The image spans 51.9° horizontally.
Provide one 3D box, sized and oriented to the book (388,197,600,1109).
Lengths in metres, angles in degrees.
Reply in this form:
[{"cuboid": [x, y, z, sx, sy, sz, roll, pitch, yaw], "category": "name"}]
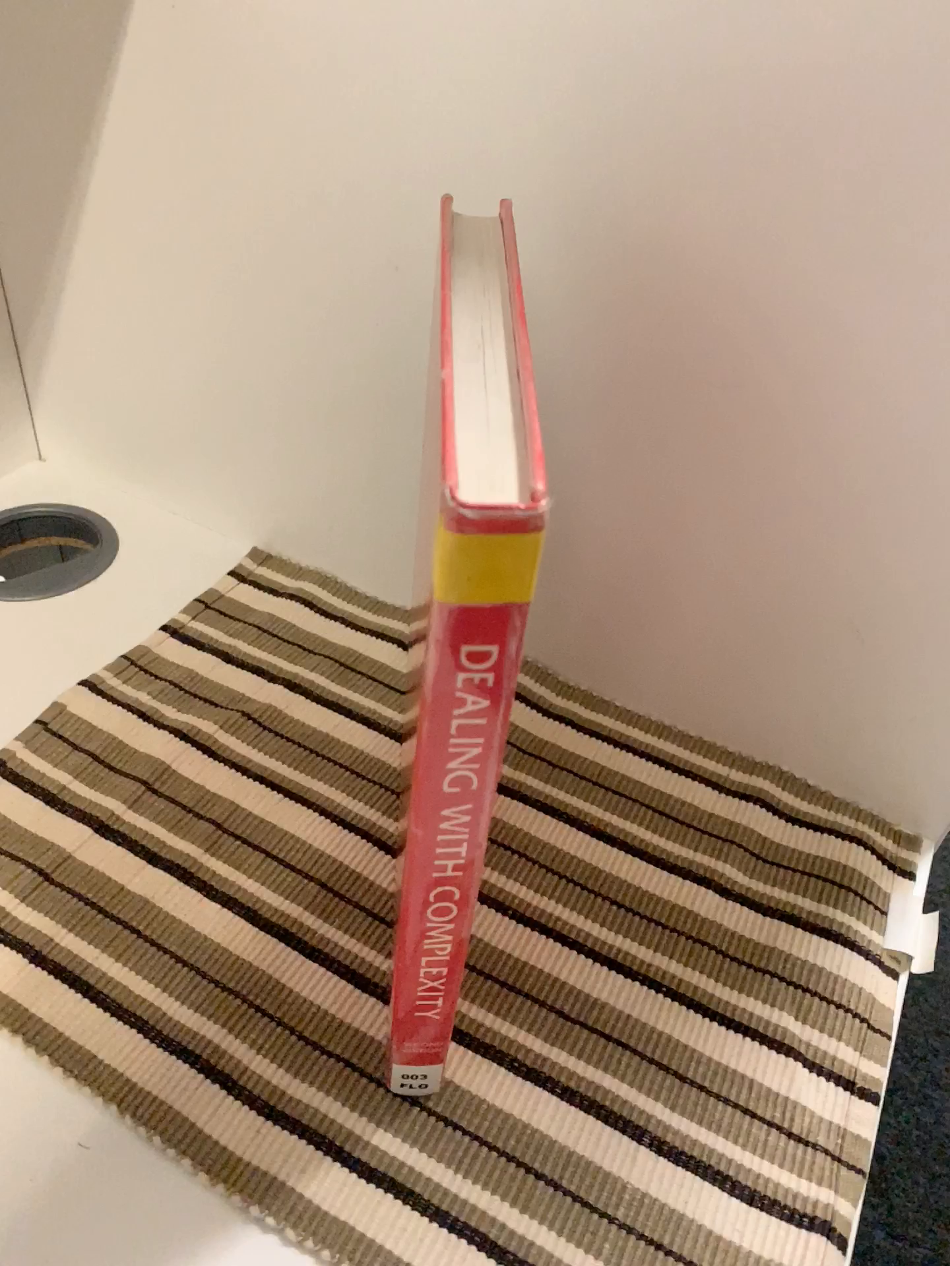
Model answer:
[{"cuboid": [-0.006, 0.010, 0.345, 0.030, 0.250, 0.202, 4, 40, -5], "category": "book"}]
